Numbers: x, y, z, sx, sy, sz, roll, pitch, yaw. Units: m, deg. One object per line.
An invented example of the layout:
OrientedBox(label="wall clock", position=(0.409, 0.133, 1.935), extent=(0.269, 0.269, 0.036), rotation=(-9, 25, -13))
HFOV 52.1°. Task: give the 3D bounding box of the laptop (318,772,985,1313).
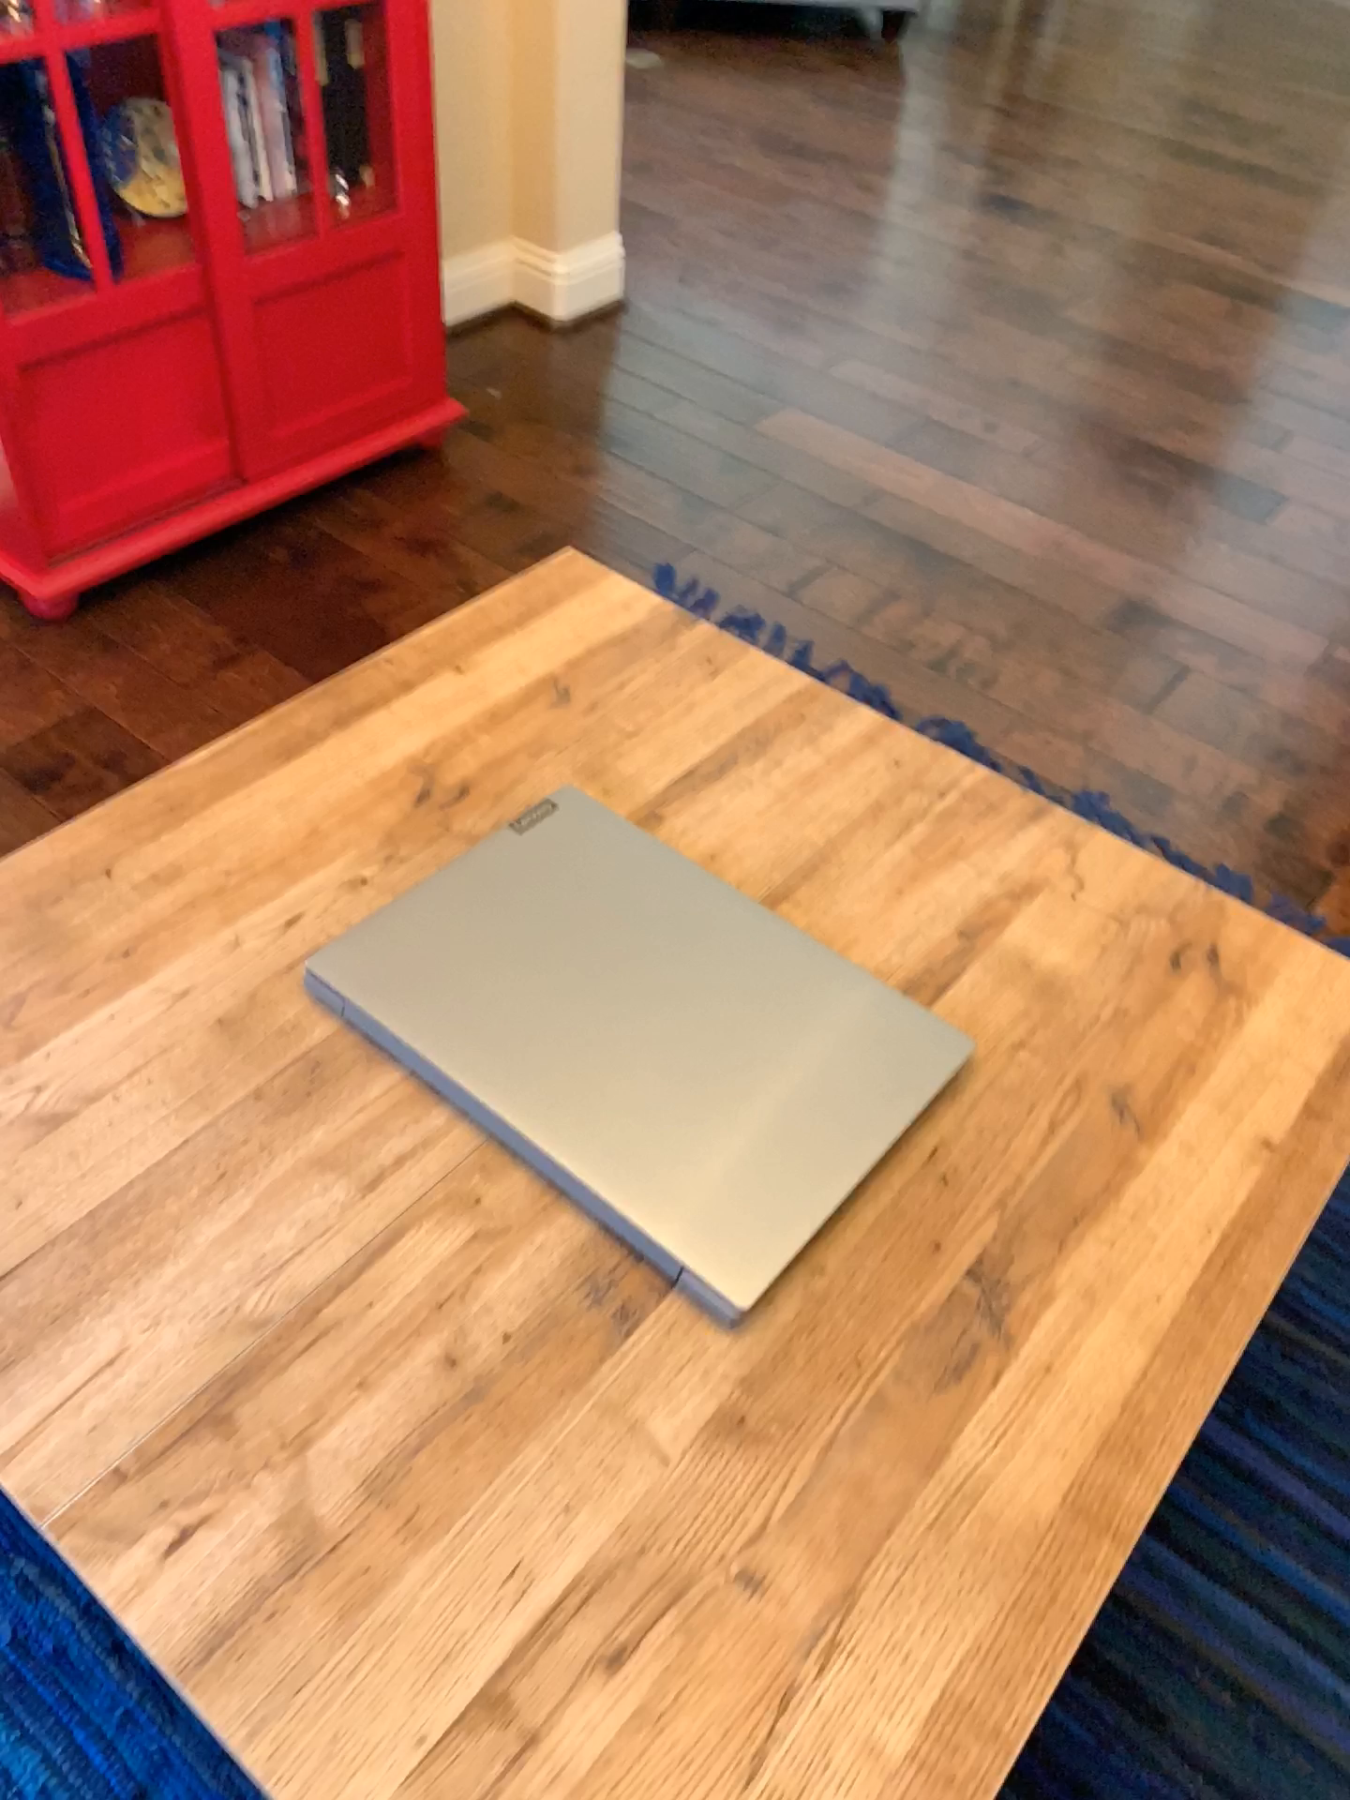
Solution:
OrientedBox(label="laptop", position=(-0.016, 0.064, 0.866), extent=(0.348, 0.011, 0.238), rotation=(33, 53, 24))
